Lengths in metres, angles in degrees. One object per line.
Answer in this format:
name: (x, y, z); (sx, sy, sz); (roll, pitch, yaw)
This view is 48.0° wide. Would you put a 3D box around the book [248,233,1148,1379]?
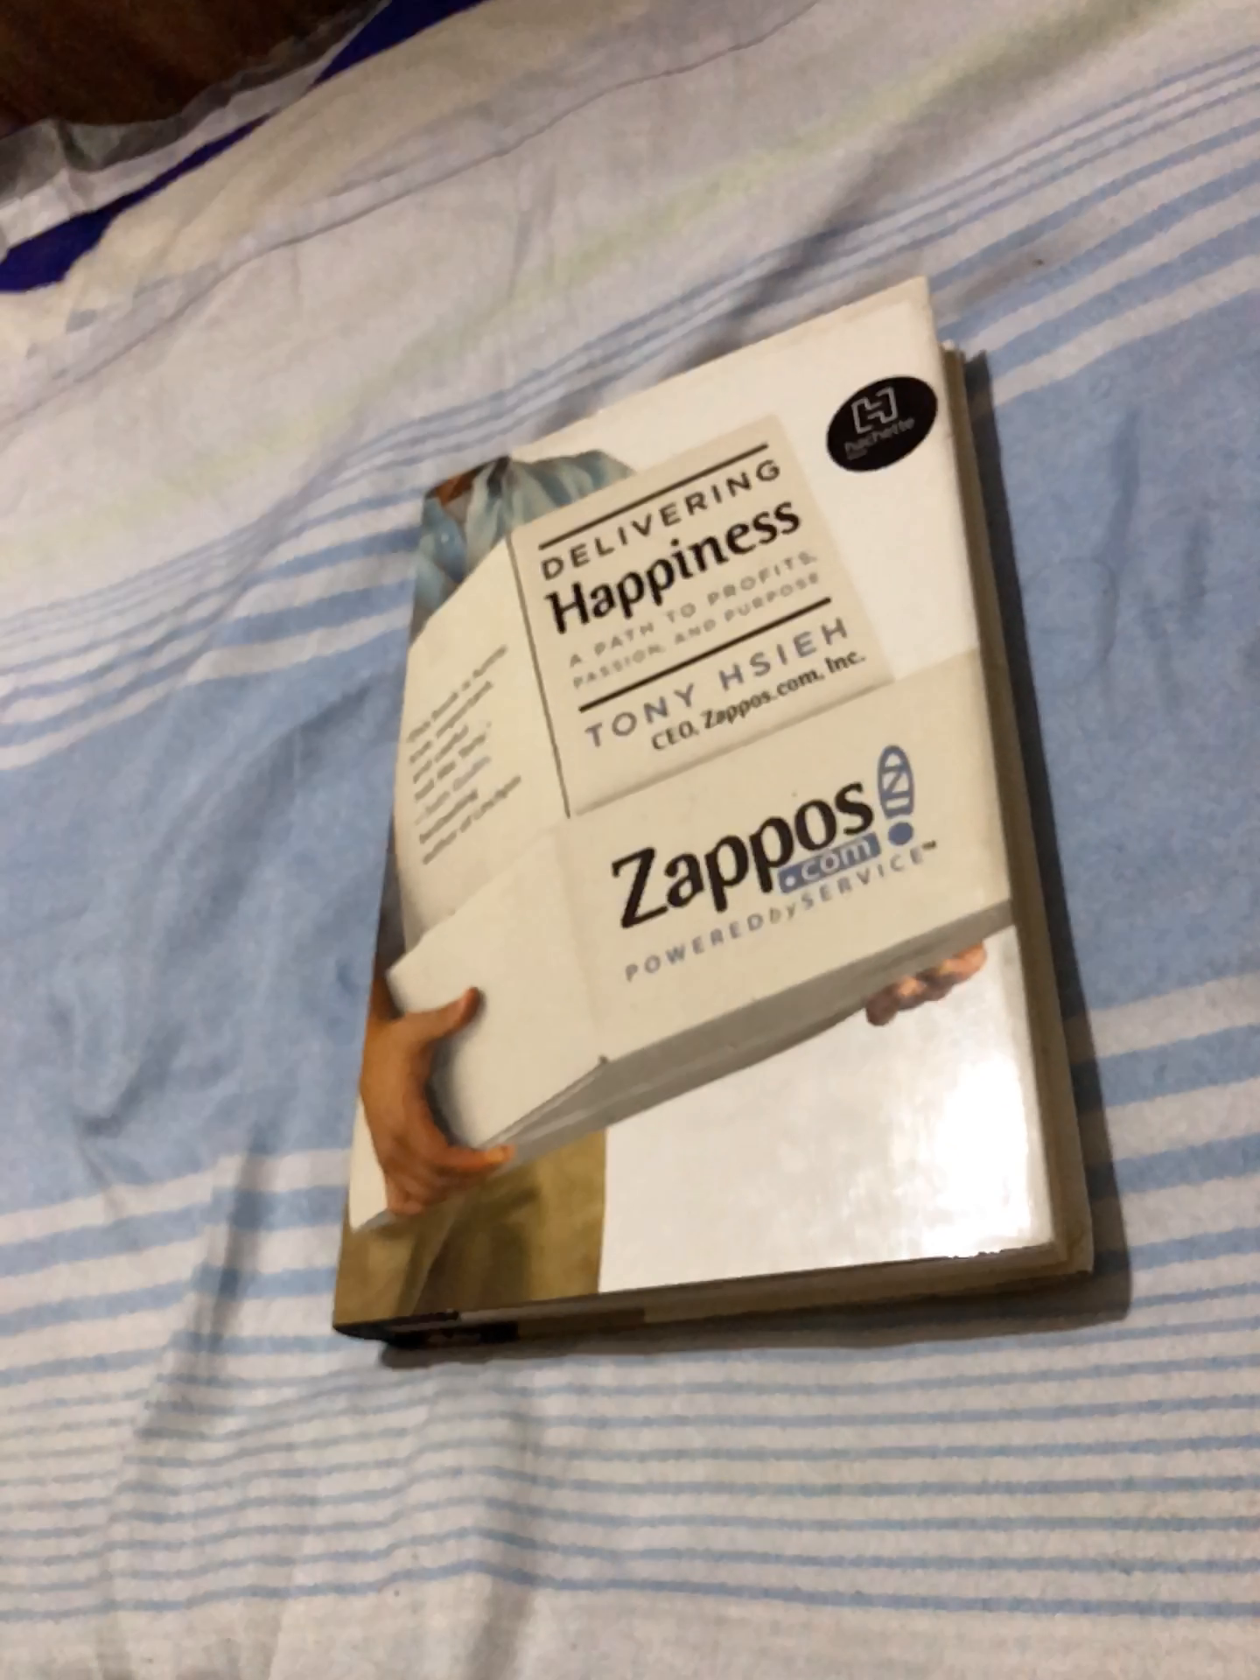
book: (0.010, -0.009, 0.333); (0.170, 0.050, 0.240); (-15, 56, 27)
